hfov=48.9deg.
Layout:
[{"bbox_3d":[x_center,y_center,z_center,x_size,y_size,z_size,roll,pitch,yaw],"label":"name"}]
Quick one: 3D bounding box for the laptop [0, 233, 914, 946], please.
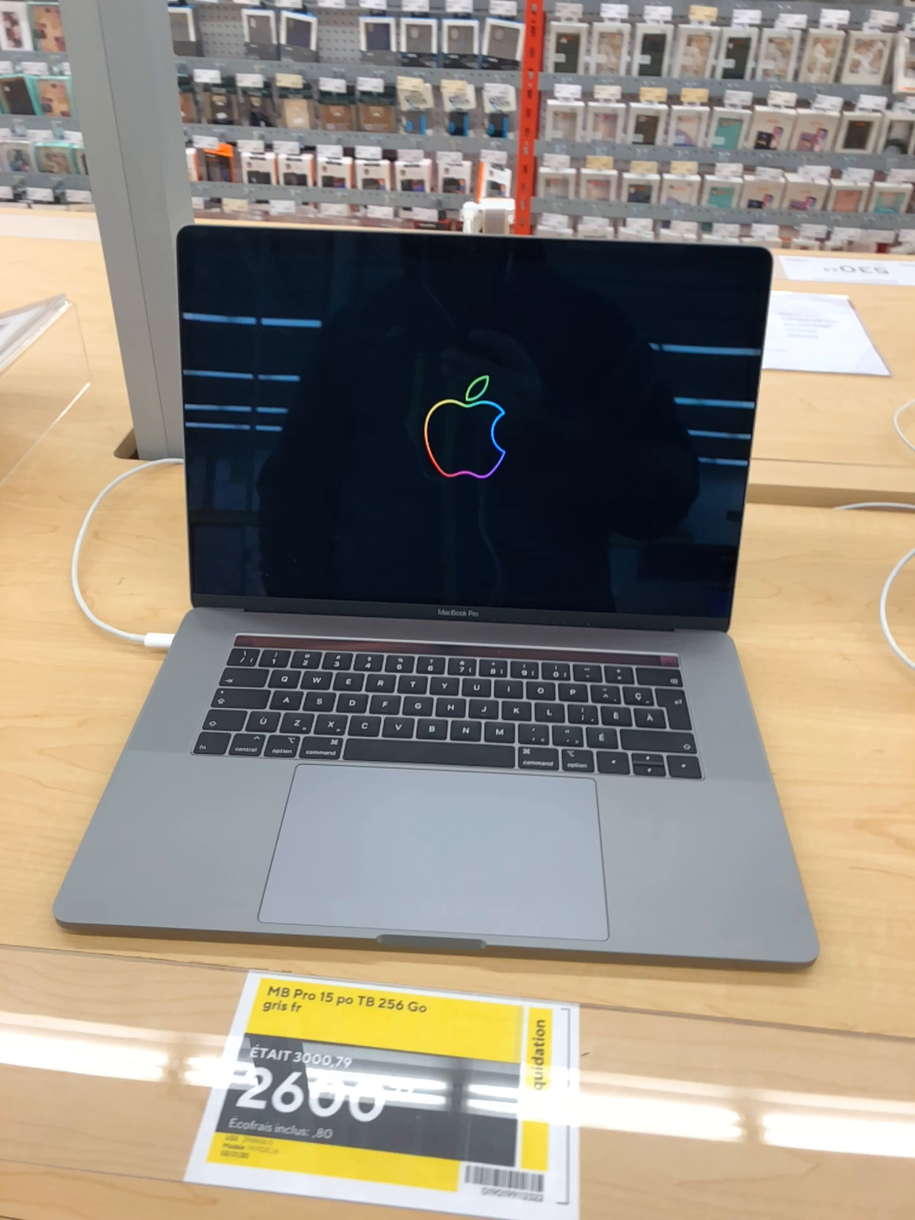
[{"bbox_3d":[0.000,-0.030,0.501,0.329,0.212,0.299,2,36,1],"label":"laptop"}]
